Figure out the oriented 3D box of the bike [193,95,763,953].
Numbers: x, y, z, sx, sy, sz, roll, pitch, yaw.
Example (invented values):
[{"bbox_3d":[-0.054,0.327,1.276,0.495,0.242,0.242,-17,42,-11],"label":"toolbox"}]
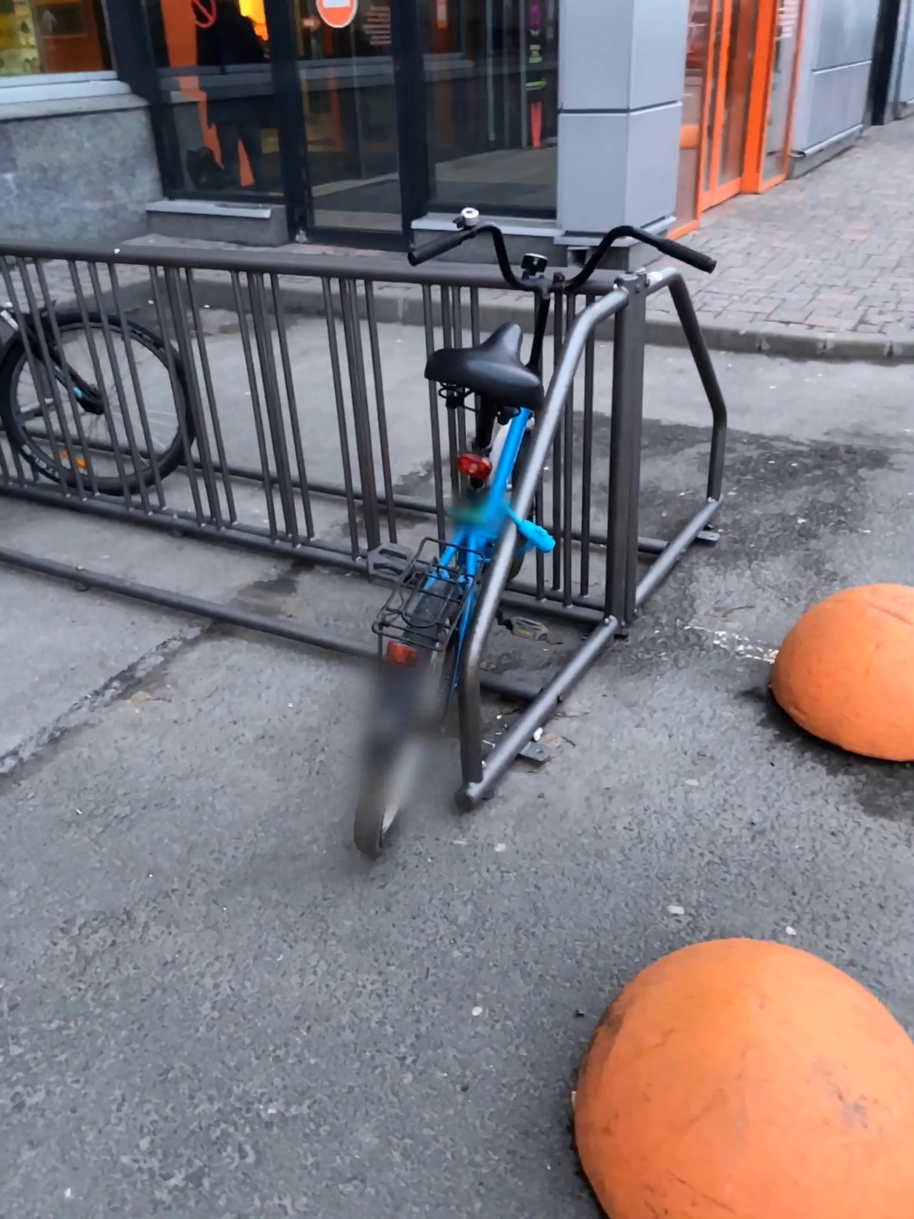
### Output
[{"bbox_3d":[0.170,-0.321,2.038,0.723,0.991,1.430,4,36,11],"label":"bike"}]
